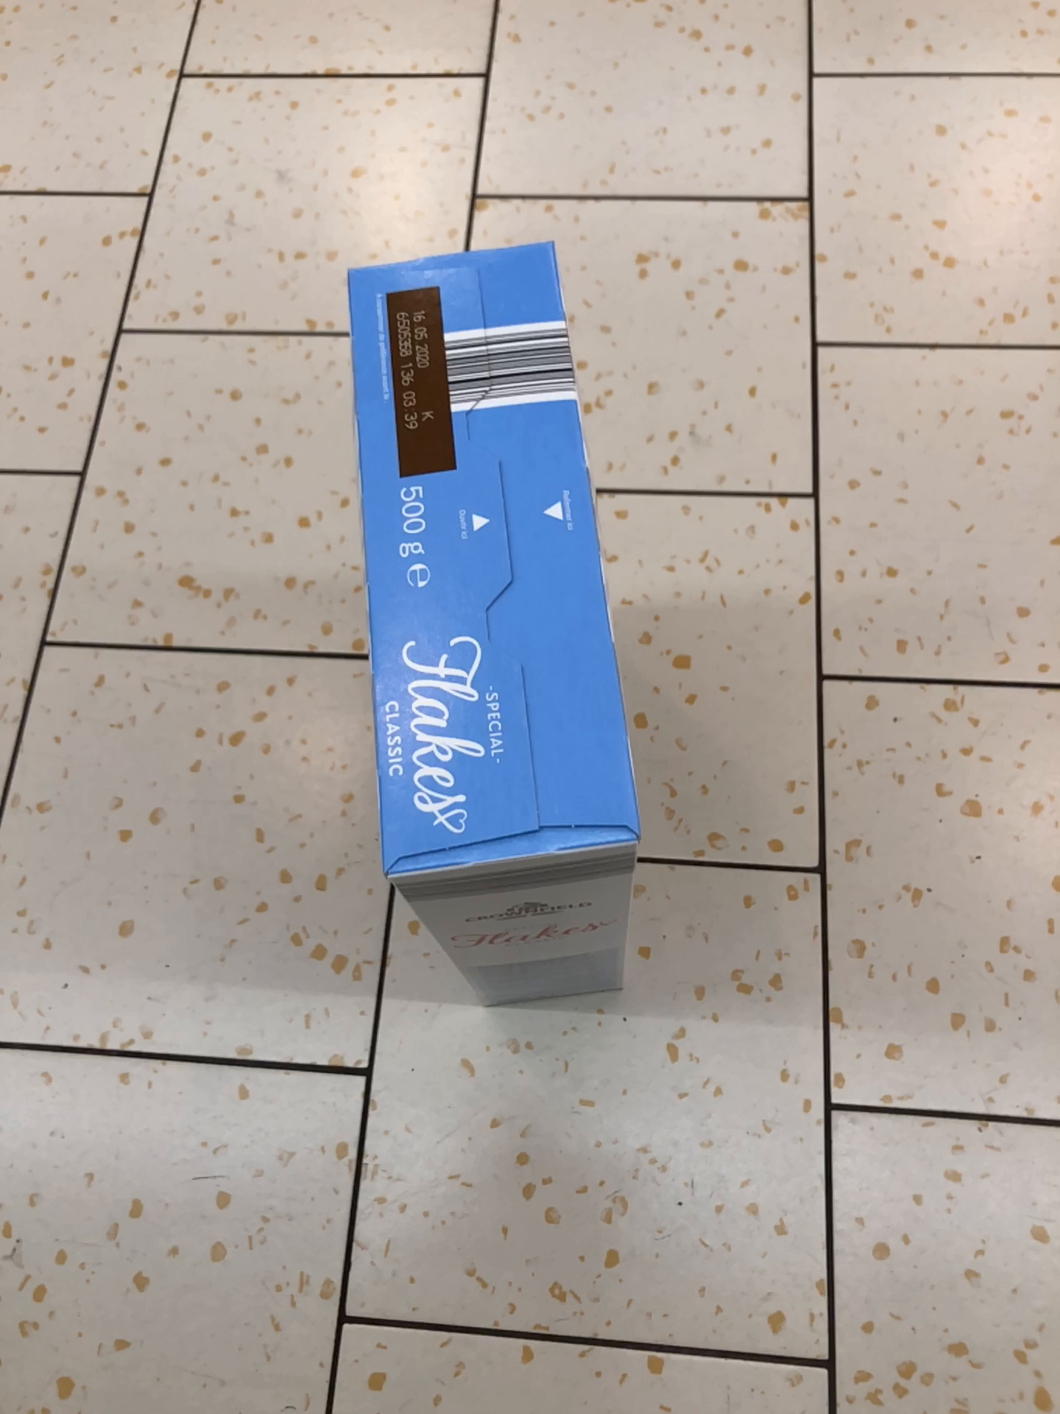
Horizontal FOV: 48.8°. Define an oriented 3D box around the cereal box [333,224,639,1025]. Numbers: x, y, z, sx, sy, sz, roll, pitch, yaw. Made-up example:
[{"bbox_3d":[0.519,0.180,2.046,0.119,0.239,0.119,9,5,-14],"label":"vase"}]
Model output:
[{"bbox_3d":[-0.009,-0.002,0.446,0.070,0.269,0.200,-6,67,1],"label":"cereal box"}]
